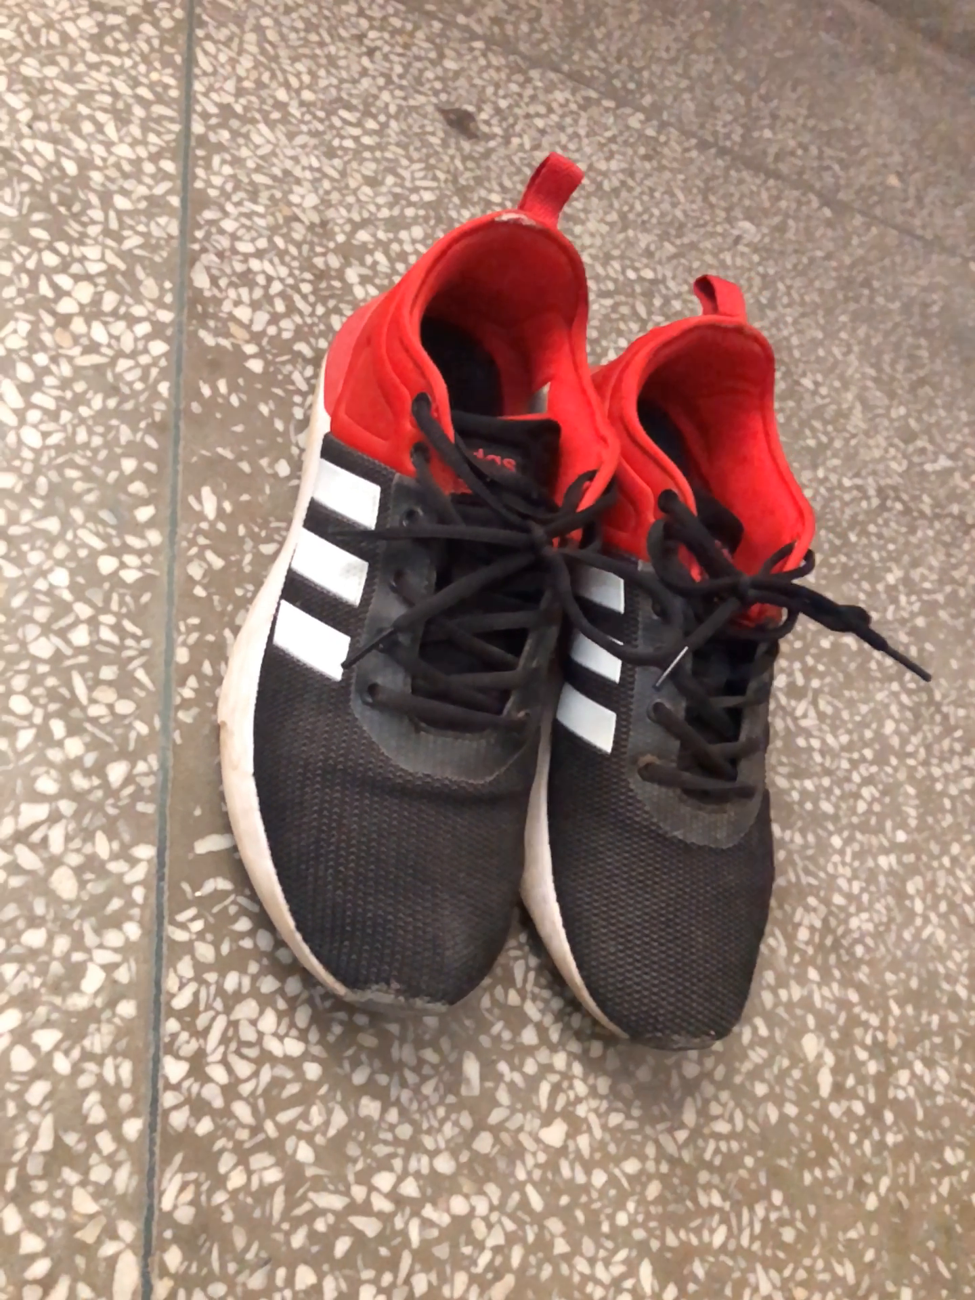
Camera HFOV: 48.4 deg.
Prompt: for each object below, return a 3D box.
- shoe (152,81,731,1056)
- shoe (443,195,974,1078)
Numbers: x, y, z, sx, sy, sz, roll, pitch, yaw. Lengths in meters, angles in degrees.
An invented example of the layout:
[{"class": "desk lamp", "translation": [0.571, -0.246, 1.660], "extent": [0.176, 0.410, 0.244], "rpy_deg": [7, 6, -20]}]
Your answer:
[{"class": "shoe", "translation": [-0.016, -0.025, 0.404], "extent": [0.130, 0.140, 0.310], "rpy_deg": [16, 61, -24]}, {"class": "shoe", "translation": [0.077, 0.000, 0.454], "extent": [0.130, 0.140, 0.320], "rpy_deg": [14, 61, -25]}]
